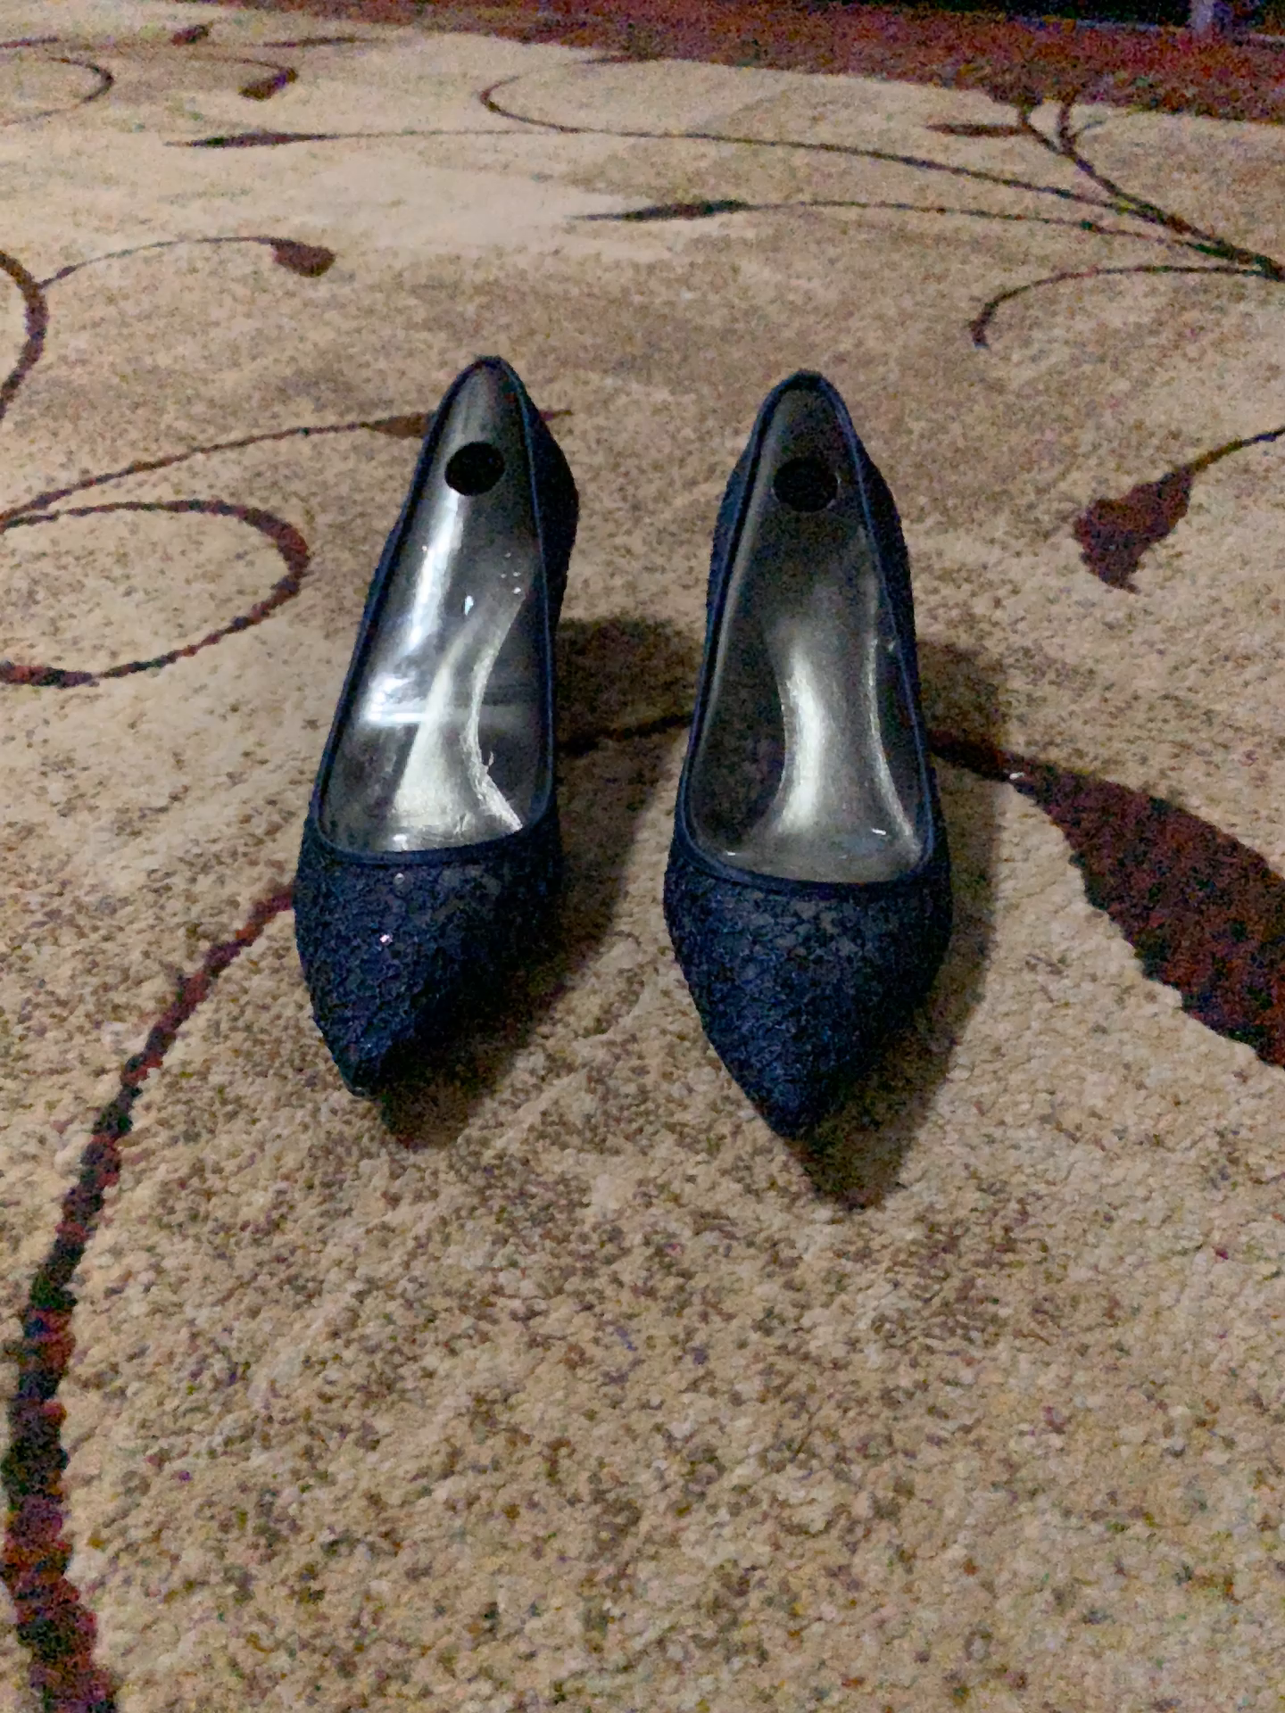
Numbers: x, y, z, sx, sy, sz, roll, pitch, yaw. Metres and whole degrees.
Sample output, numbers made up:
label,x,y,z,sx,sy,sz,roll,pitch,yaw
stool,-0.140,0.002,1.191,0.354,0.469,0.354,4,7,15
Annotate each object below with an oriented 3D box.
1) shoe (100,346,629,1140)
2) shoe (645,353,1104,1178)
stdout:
label,x,y,z,sx,sy,sz,roll,pitch,yaw
shoe,-0.059,-0.060,0.412,0.088,0.088,0.295,0,41,4
shoe,0.054,-0.052,0.393,0.088,0.088,0.286,0,41,4
